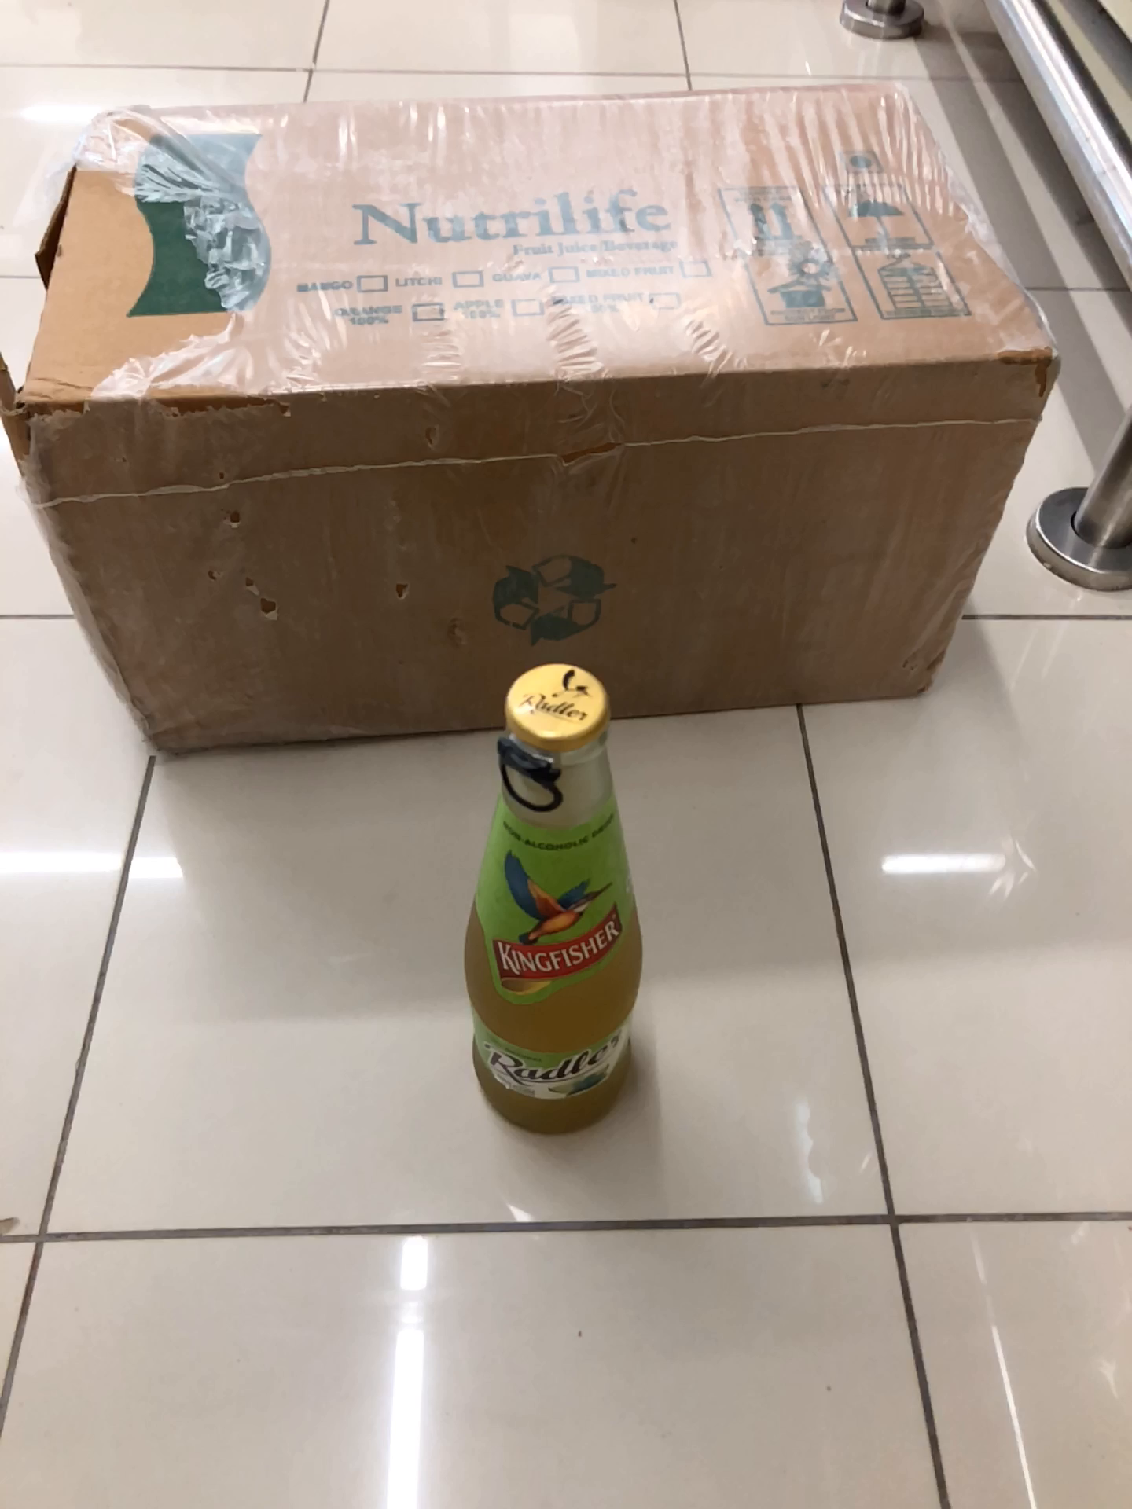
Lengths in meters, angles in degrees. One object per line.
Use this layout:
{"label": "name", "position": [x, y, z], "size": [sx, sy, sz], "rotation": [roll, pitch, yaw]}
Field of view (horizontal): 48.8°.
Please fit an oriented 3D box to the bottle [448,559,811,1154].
{"label": "bottle", "position": [0.010, 0.043, 0.378], "size": [0.080, 0.199, 0.080], "rotation": [1, 52, -1]}
